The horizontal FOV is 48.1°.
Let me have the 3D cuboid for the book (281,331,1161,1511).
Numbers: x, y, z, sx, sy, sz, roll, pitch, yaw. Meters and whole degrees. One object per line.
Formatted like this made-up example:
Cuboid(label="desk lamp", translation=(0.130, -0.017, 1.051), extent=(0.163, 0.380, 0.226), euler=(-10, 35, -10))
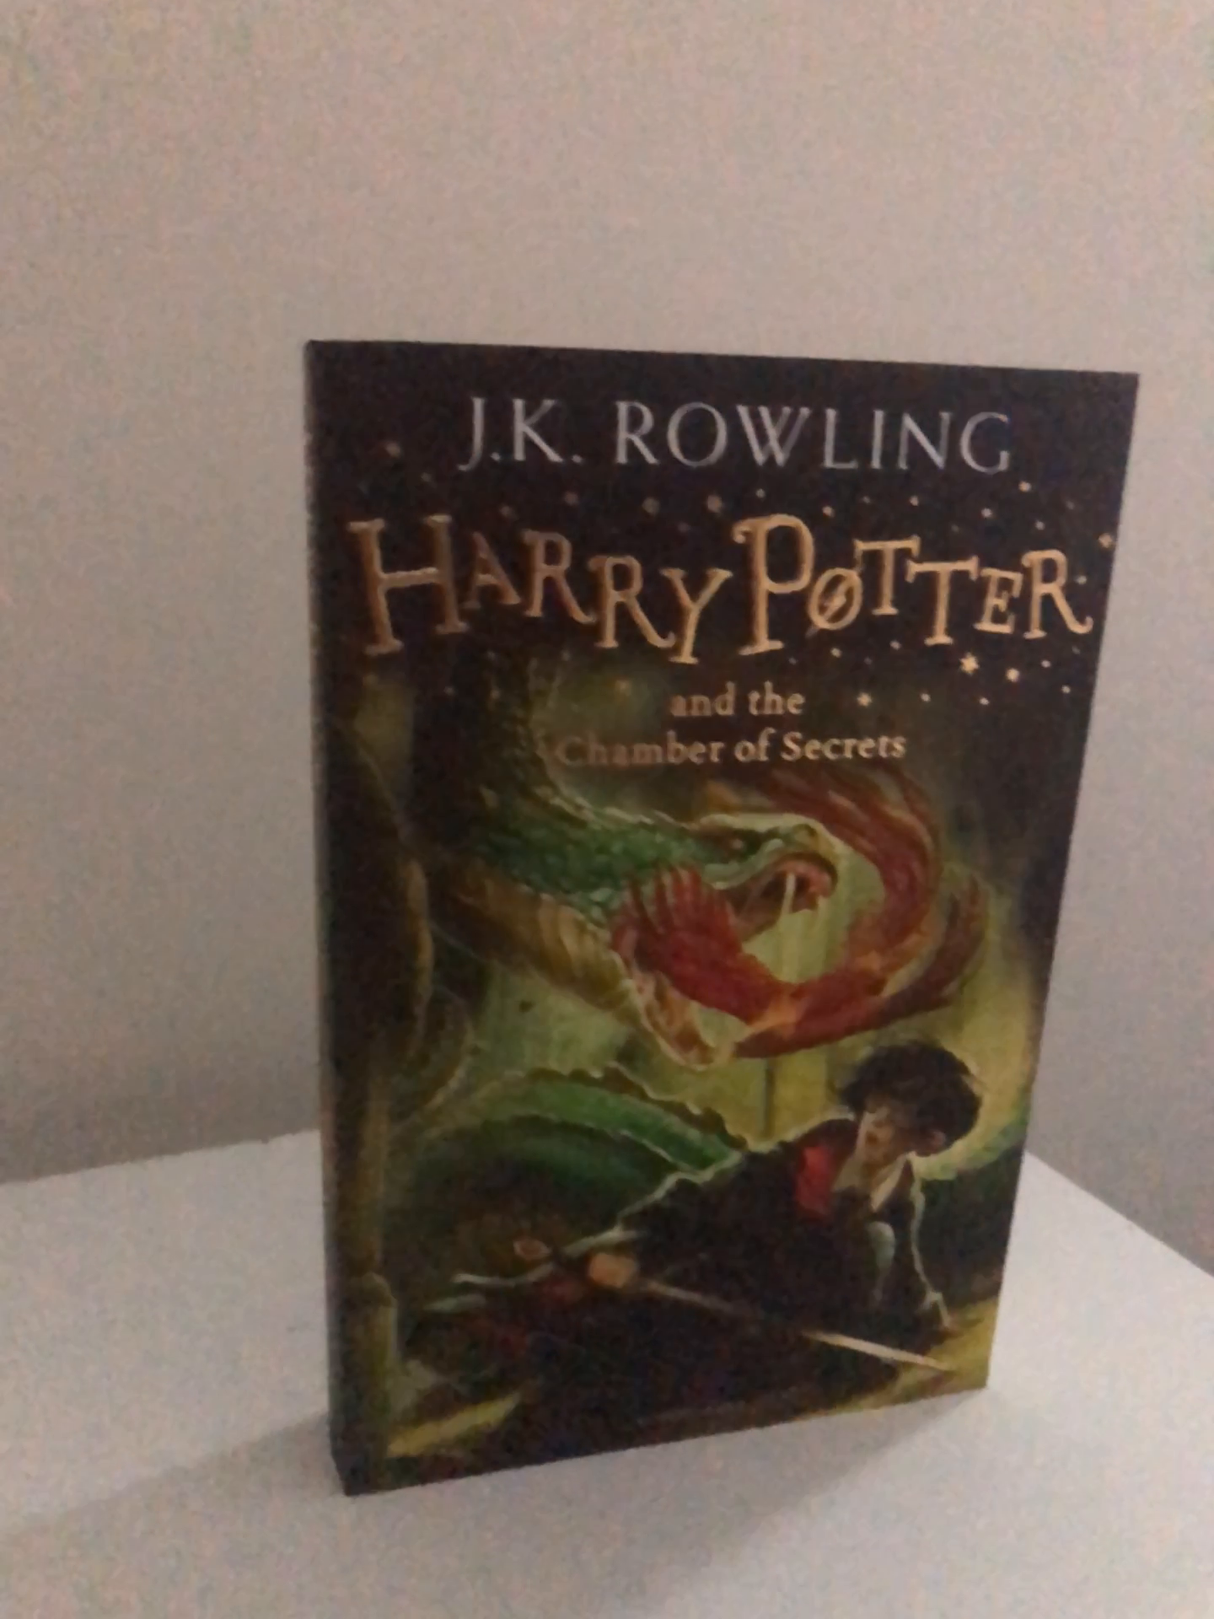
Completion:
Cuboid(label="book", translation=(0.014, 0.020, 0.238), extent=(0.130, 0.190, 0.039), euler=(-3, 18, -15))
